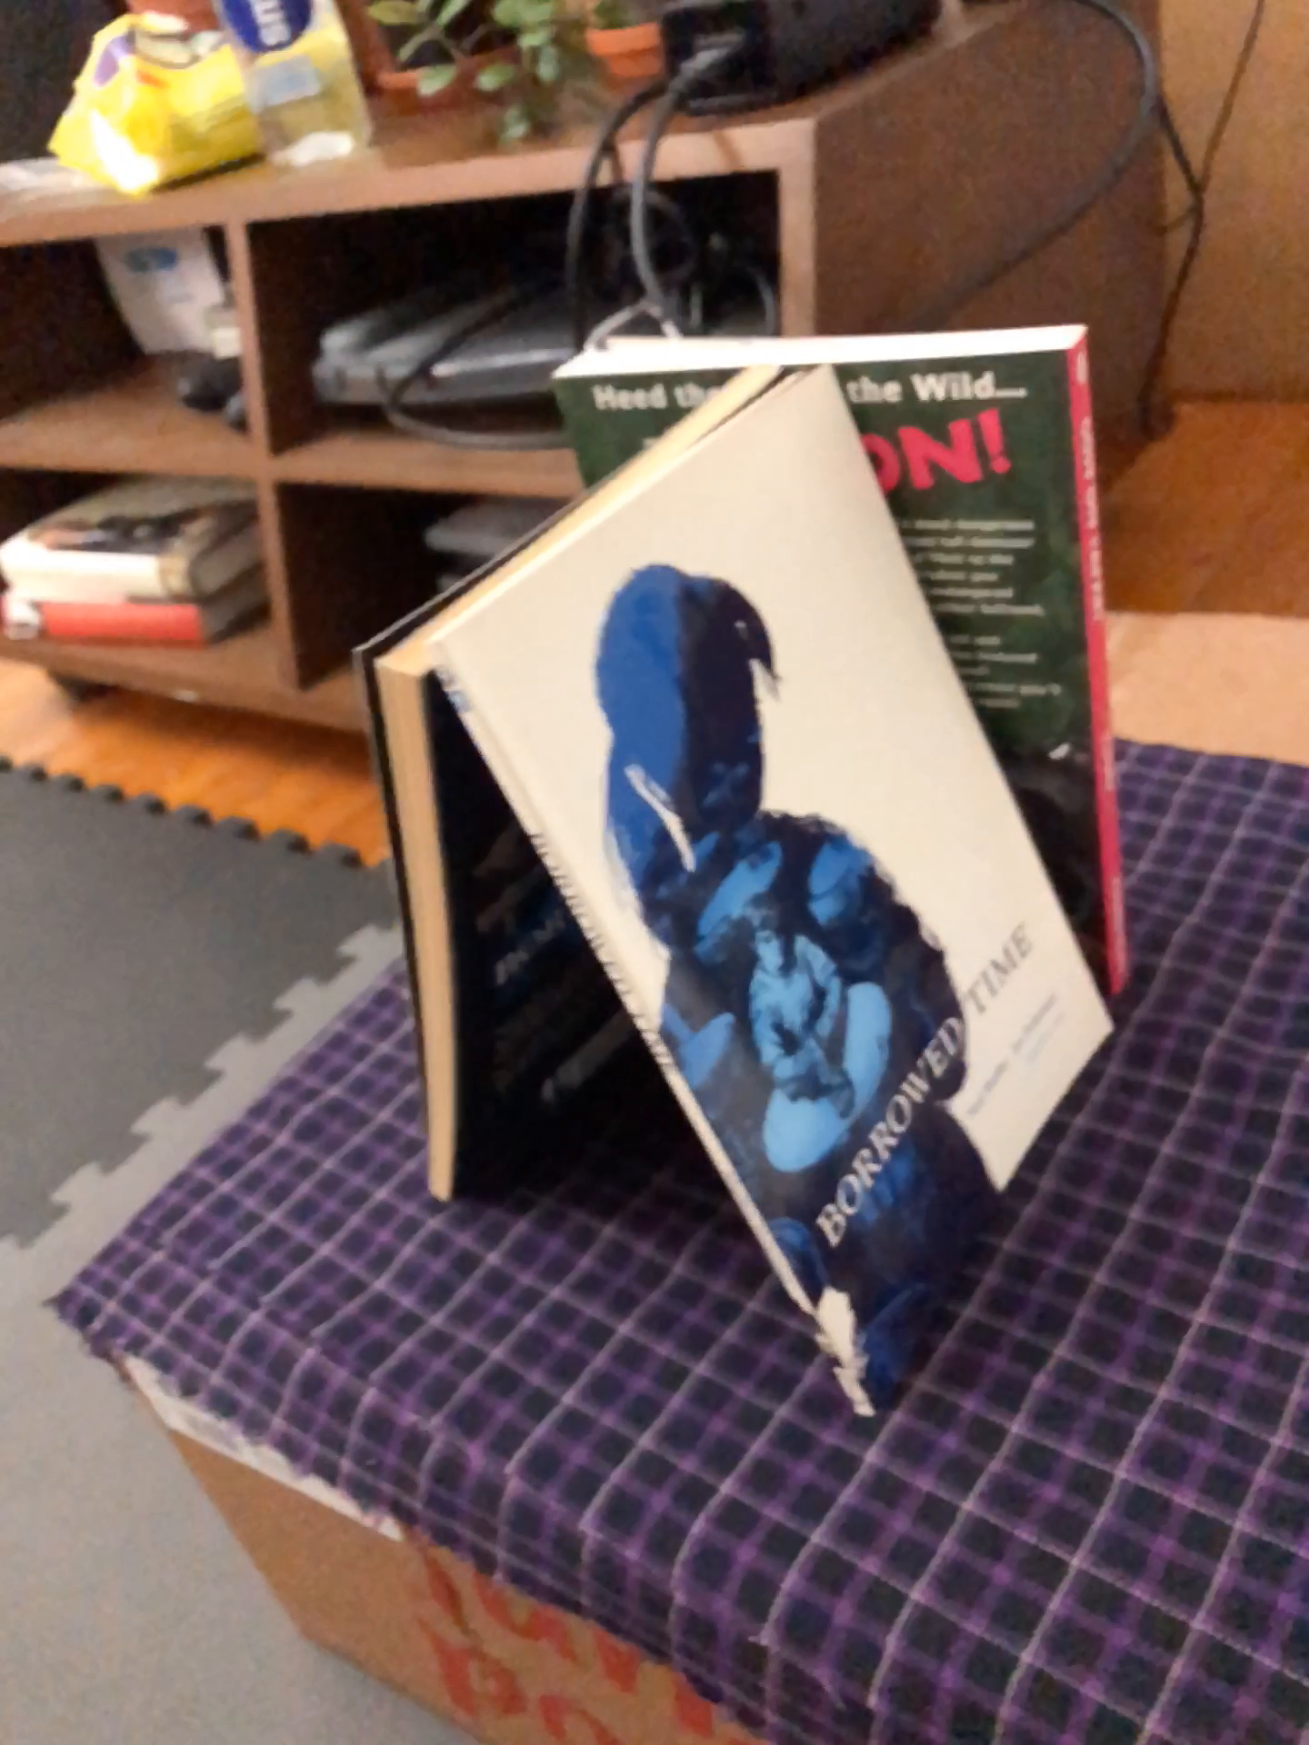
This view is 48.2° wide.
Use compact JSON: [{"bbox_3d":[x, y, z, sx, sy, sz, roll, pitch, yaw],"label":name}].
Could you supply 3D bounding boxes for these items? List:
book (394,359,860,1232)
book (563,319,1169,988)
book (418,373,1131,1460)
[{"bbox_3d":[-0.006,-0.012,0.381,0.010,0.199,0.151,30,52,21],"label":"book"},{"bbox_3d":[0.064,-0.055,0.405,0.140,0.189,0.020,11,48,33],"label":"book"},{"bbox_3d":[0.045,0.006,0.331,0.010,0.199,0.141,-7,28,45],"label":"book"}]
